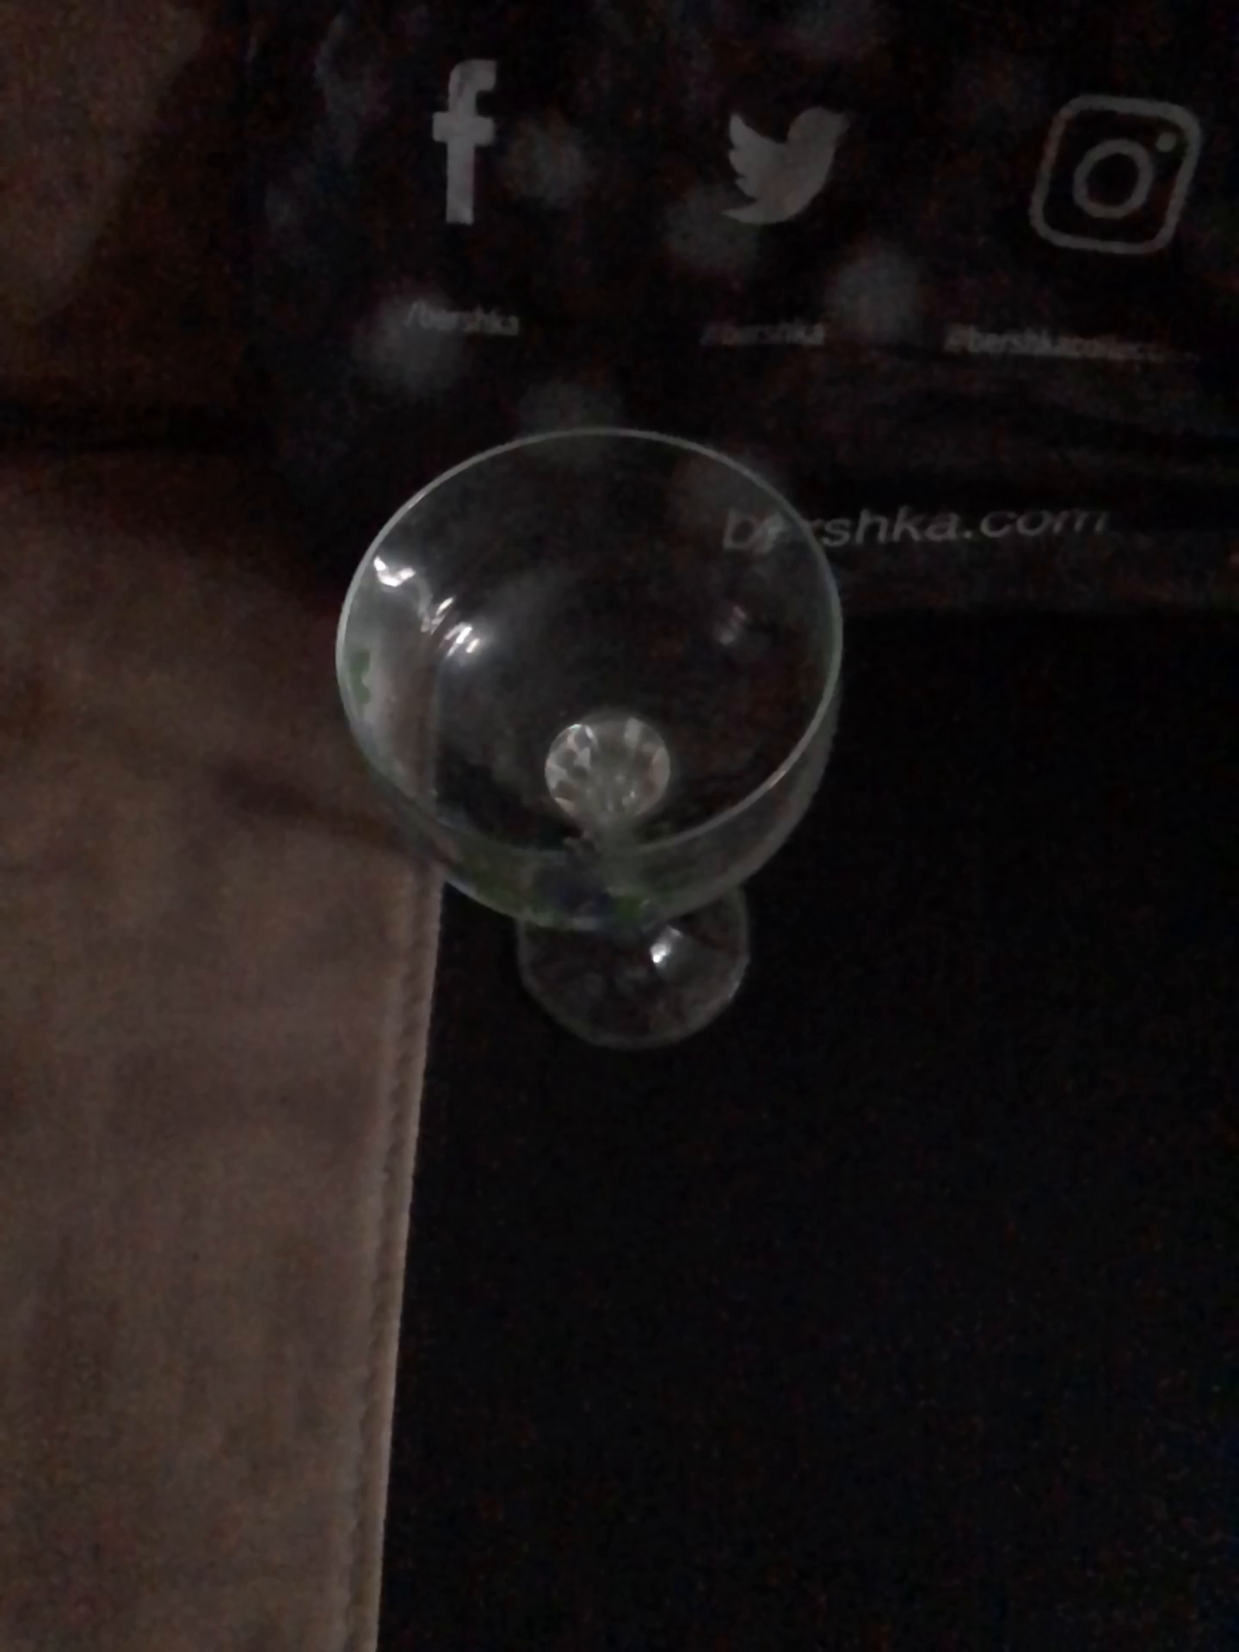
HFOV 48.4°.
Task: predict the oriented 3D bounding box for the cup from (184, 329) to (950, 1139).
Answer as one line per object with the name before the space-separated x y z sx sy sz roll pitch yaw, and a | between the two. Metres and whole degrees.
cup | -0.006 -0.007 0.295 0.096 0.147 0.085 30 72 13
